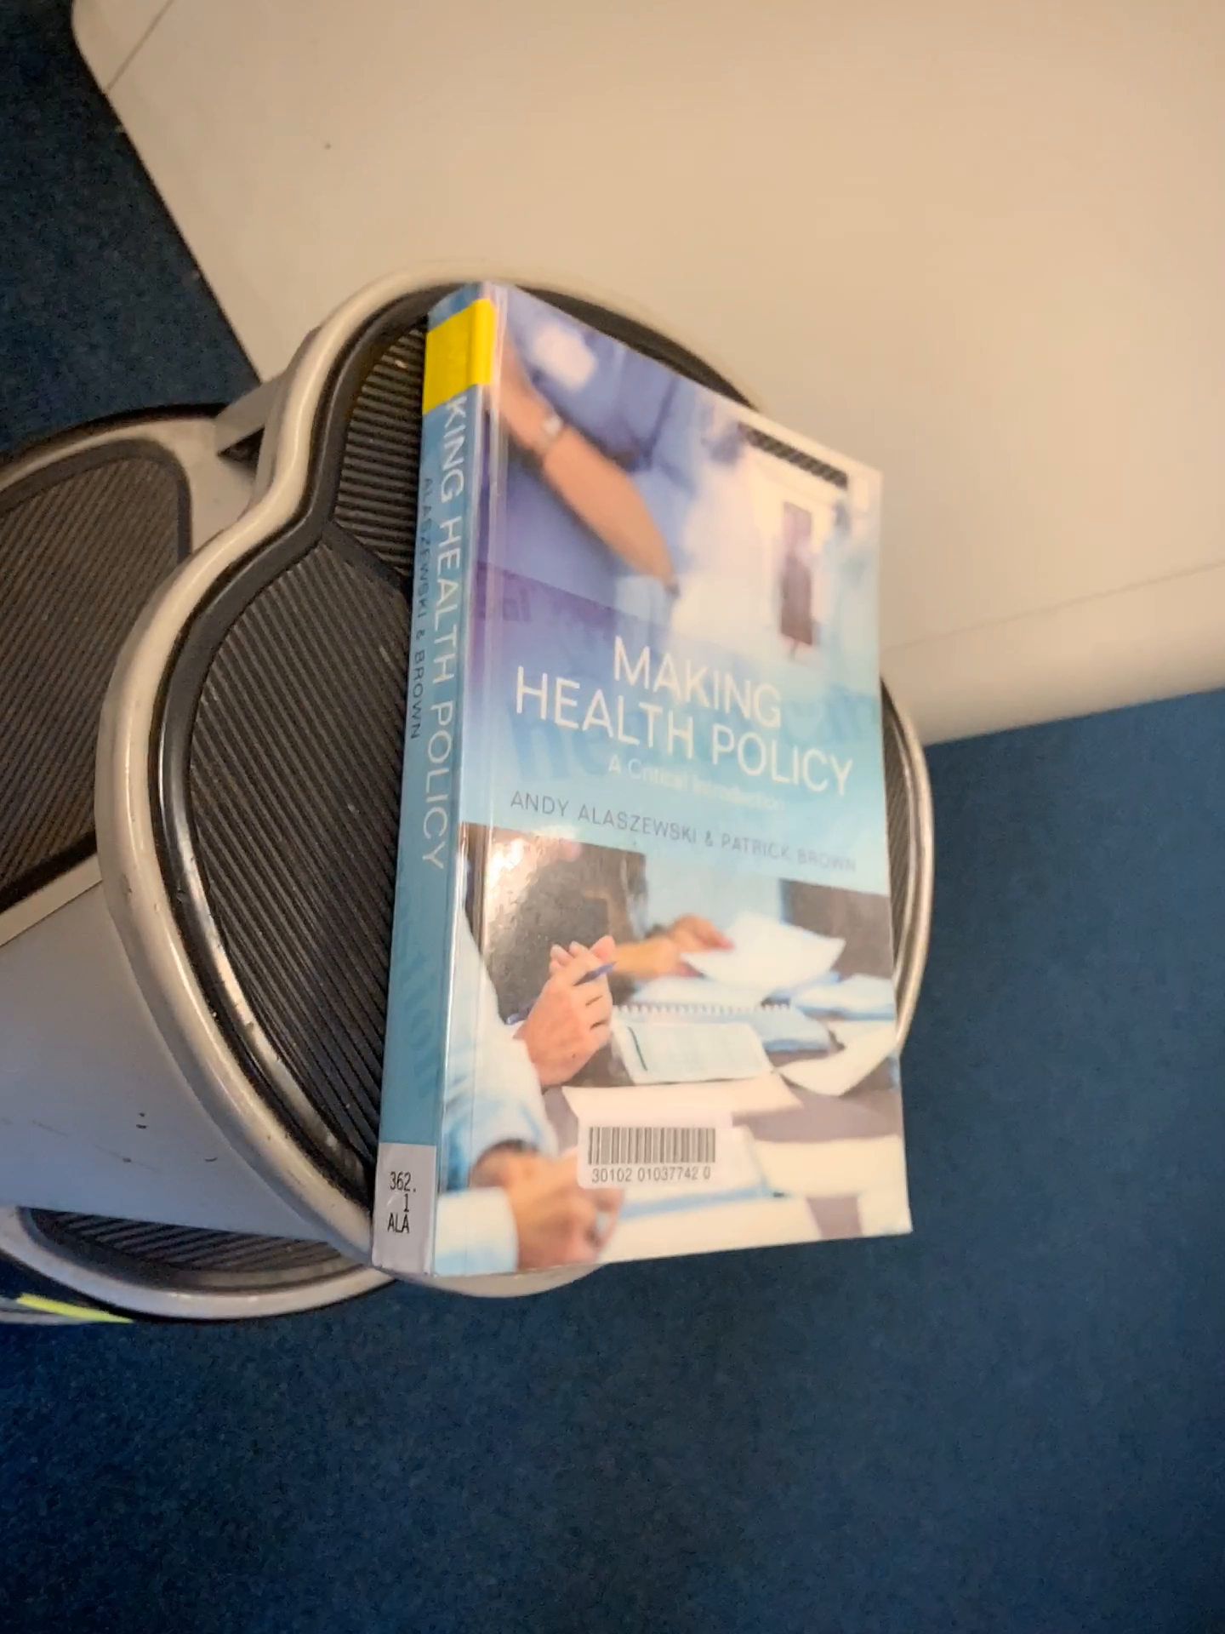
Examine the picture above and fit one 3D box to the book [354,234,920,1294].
[{"bbox_3d":[0.016,-0.008,0.340,0.161,0.030,0.240,12,72,-40],"label":"book"}]
